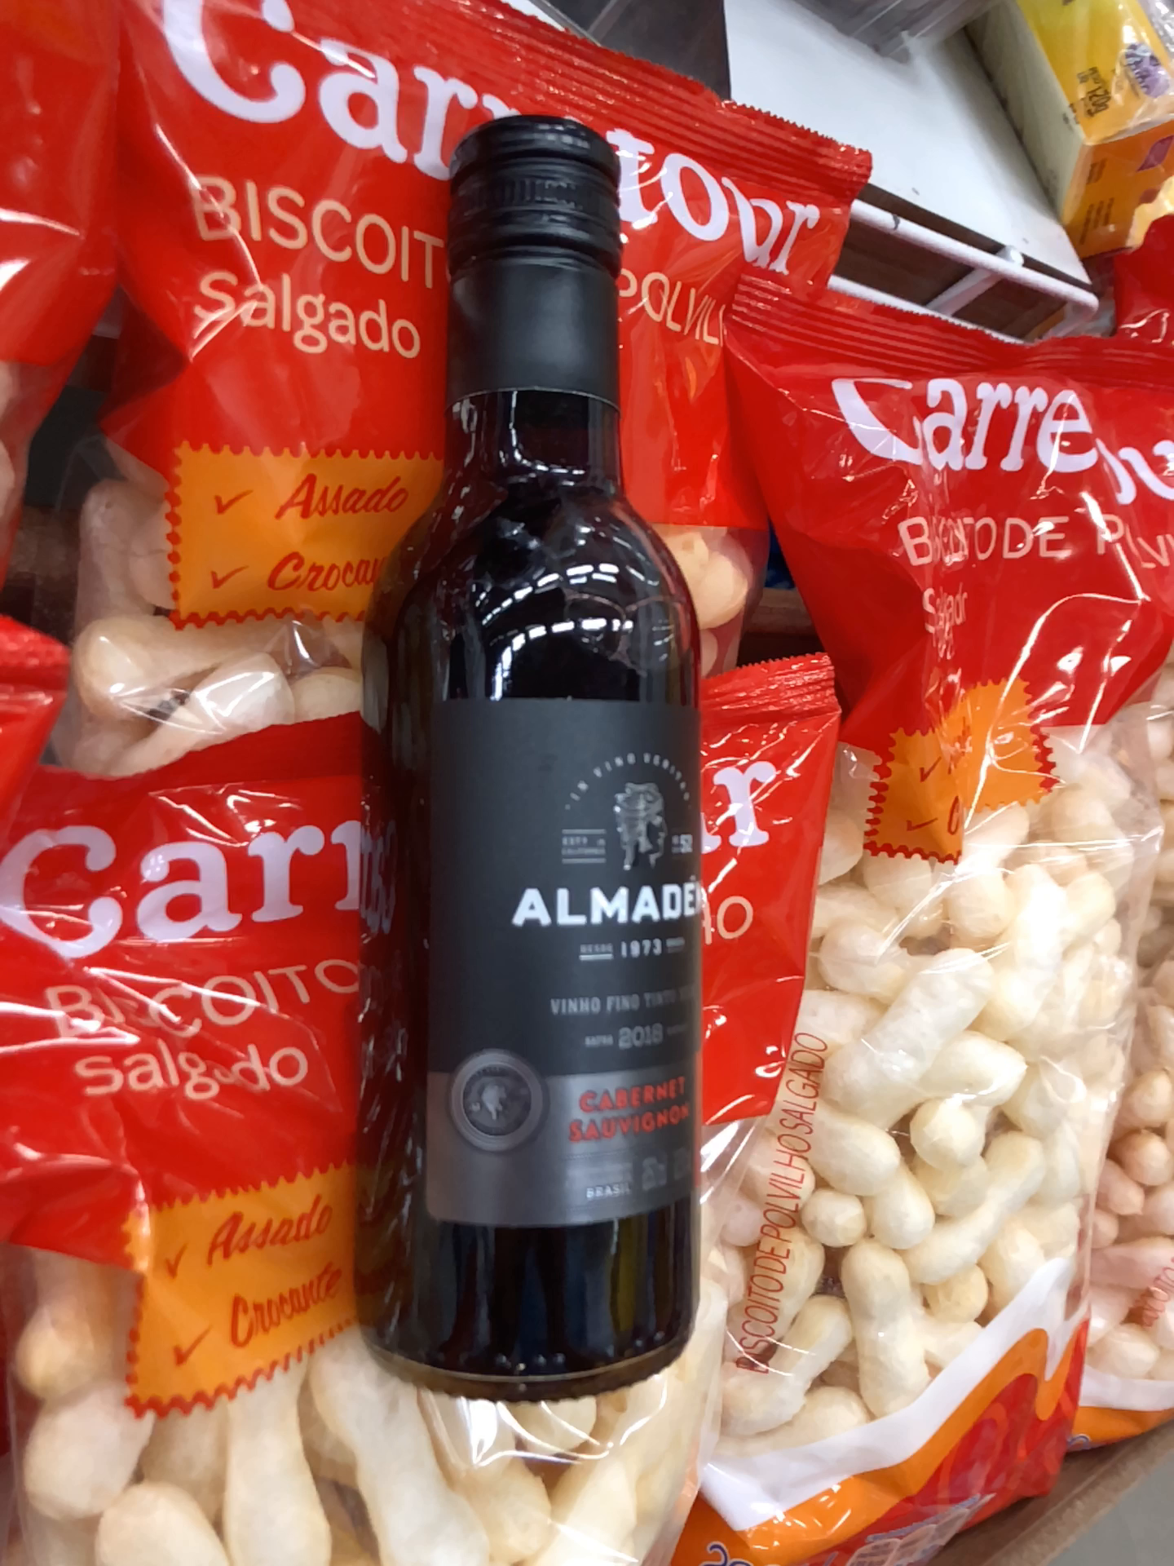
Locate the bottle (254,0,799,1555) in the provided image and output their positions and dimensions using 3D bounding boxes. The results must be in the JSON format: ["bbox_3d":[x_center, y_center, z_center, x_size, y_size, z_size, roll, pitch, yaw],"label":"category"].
[{"bbox_3d":[-0.013,-0.019,0.217,0.060,0.060,0.240,3,83,-41],"label":"bottle"}]
